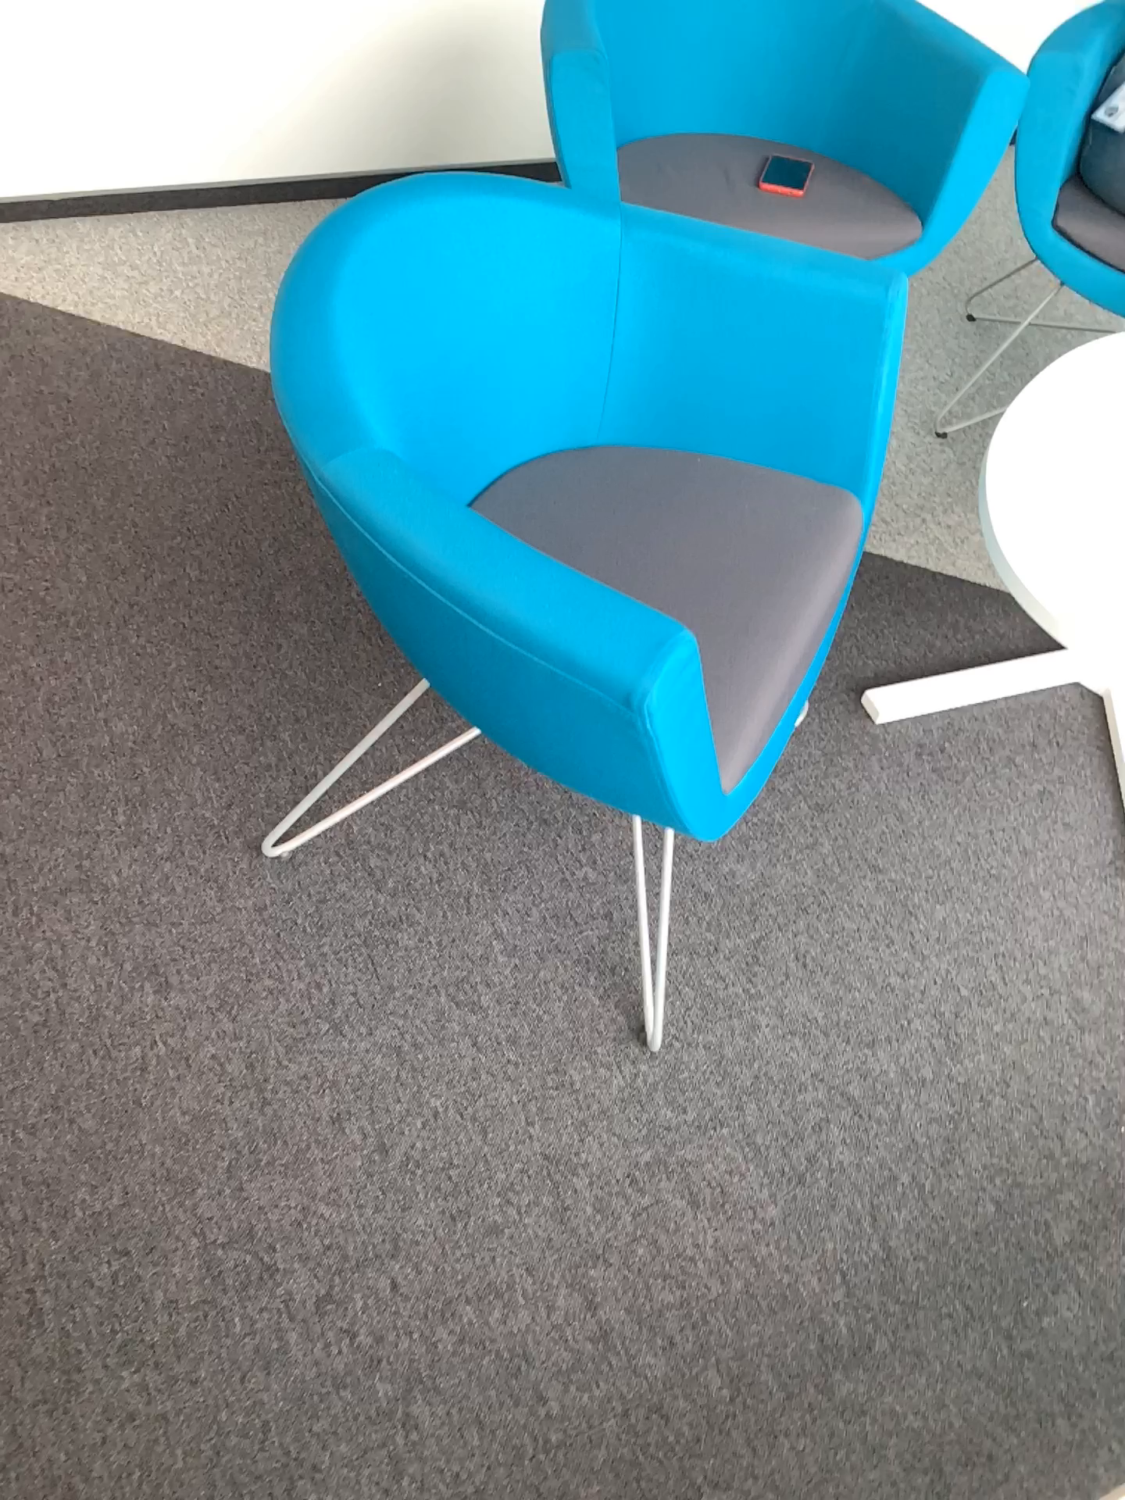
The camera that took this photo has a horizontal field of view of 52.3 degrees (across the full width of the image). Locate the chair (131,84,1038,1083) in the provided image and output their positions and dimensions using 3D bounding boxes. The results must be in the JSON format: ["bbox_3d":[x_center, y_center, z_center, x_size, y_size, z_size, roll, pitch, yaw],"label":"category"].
[{"bbox_3d":[0.039,-0.202,1.387,0.640,0.756,0.713,24,50,11],"label":"chair"}]
